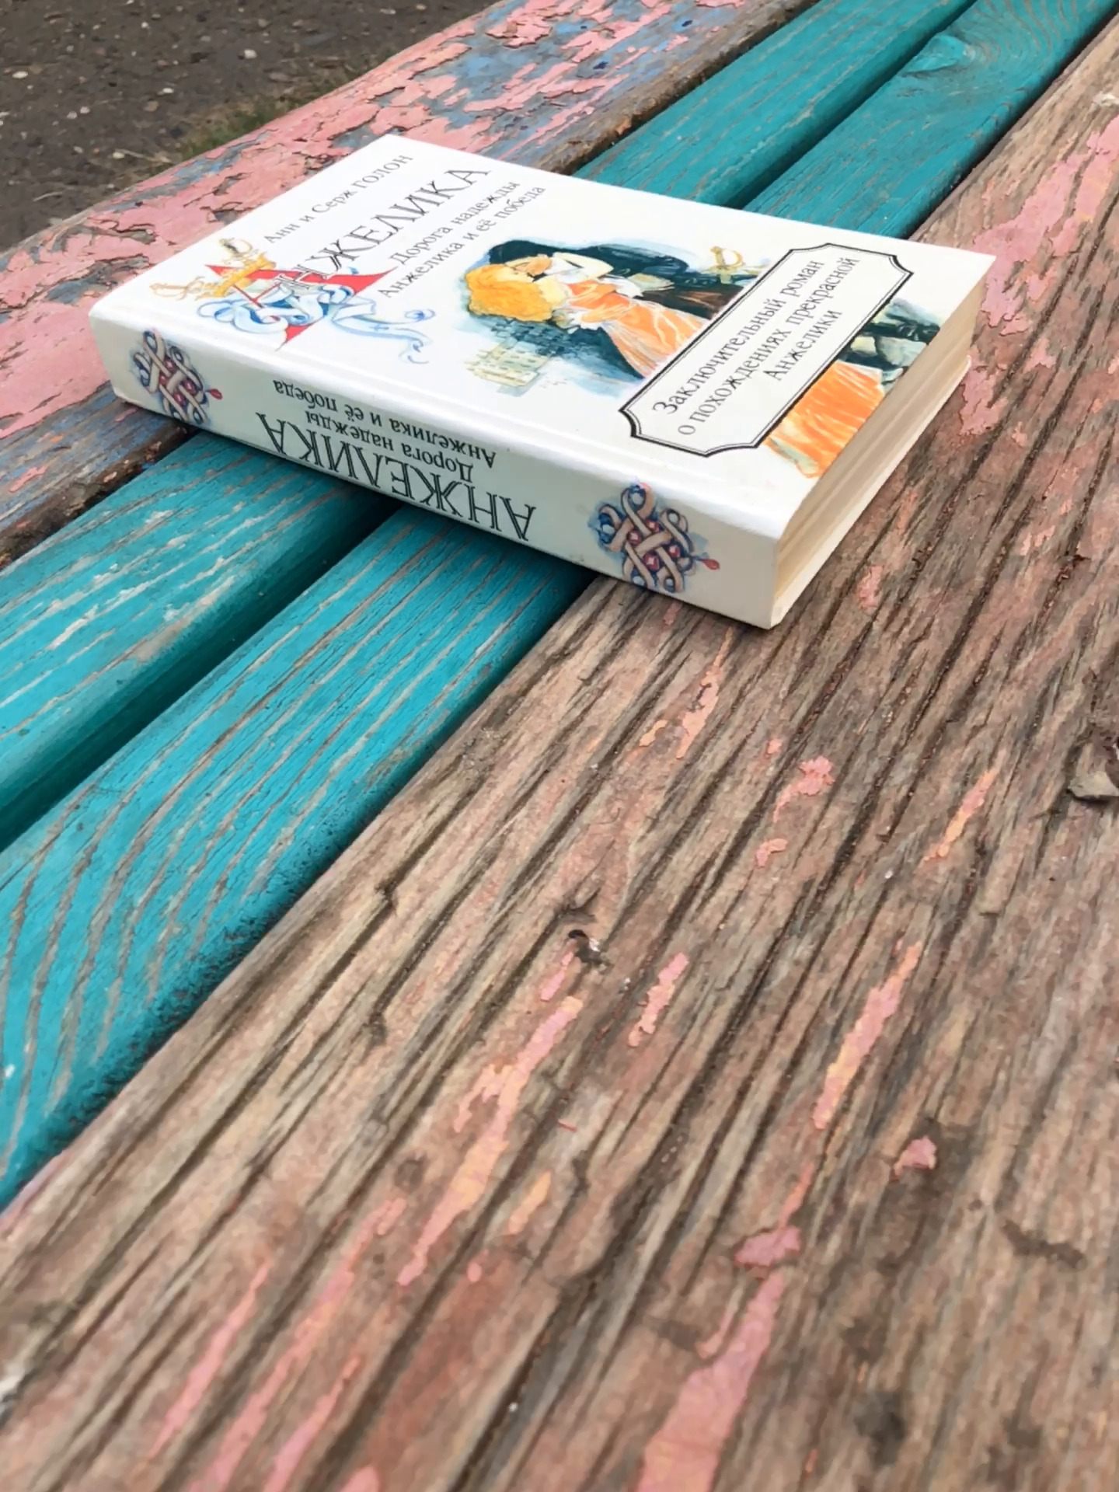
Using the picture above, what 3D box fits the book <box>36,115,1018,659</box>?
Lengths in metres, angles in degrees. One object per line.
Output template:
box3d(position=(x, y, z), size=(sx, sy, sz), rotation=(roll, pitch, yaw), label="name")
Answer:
box3d(position=(-0.005, -0.115, 0.343), size=(0.214, 0.032, 0.154), rotation=(23, 49, 21), label="book")
